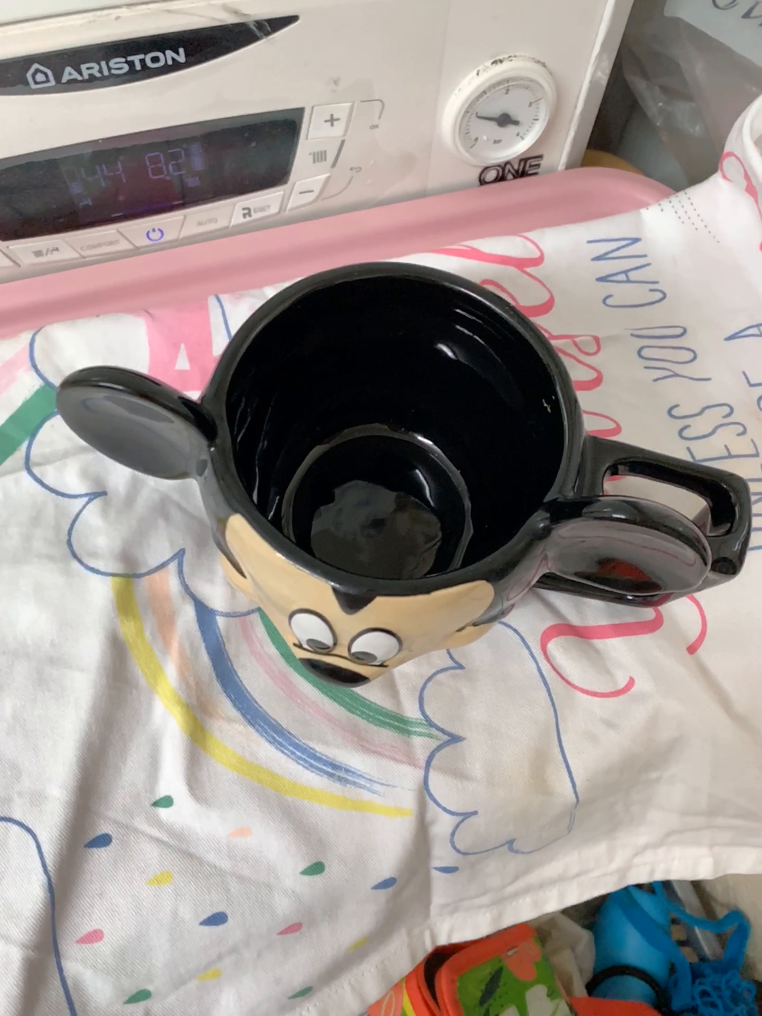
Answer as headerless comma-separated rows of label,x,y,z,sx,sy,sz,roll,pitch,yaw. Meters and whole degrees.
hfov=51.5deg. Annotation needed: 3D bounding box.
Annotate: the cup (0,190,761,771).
cup,0.005,-0.004,0.222,0.190,0.080,0.101,12,64,2
